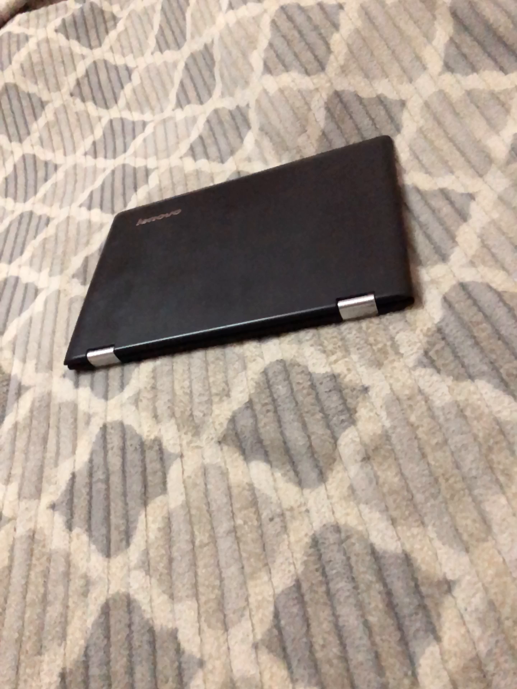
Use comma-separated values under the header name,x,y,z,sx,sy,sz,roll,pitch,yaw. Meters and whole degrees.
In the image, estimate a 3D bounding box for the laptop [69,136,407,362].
name,x,y,z,sx,sy,sz,roll,pitch,yaw
laptop,-0.027,-0.104,0.601,0.340,0.005,0.231,-10,50,18
